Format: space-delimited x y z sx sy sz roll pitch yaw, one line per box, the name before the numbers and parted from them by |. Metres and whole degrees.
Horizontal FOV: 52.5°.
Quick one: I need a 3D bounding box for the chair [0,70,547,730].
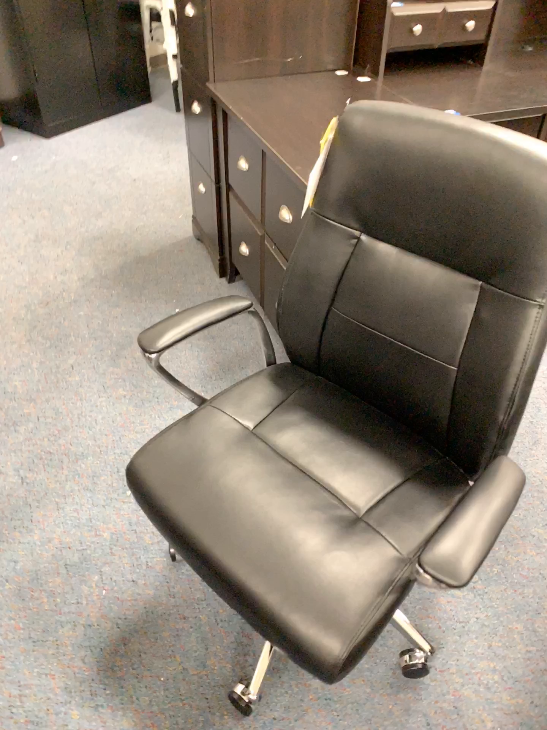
chair | 0.098 0.135 1.026 0.666 0.996 0.719 32 50 30
